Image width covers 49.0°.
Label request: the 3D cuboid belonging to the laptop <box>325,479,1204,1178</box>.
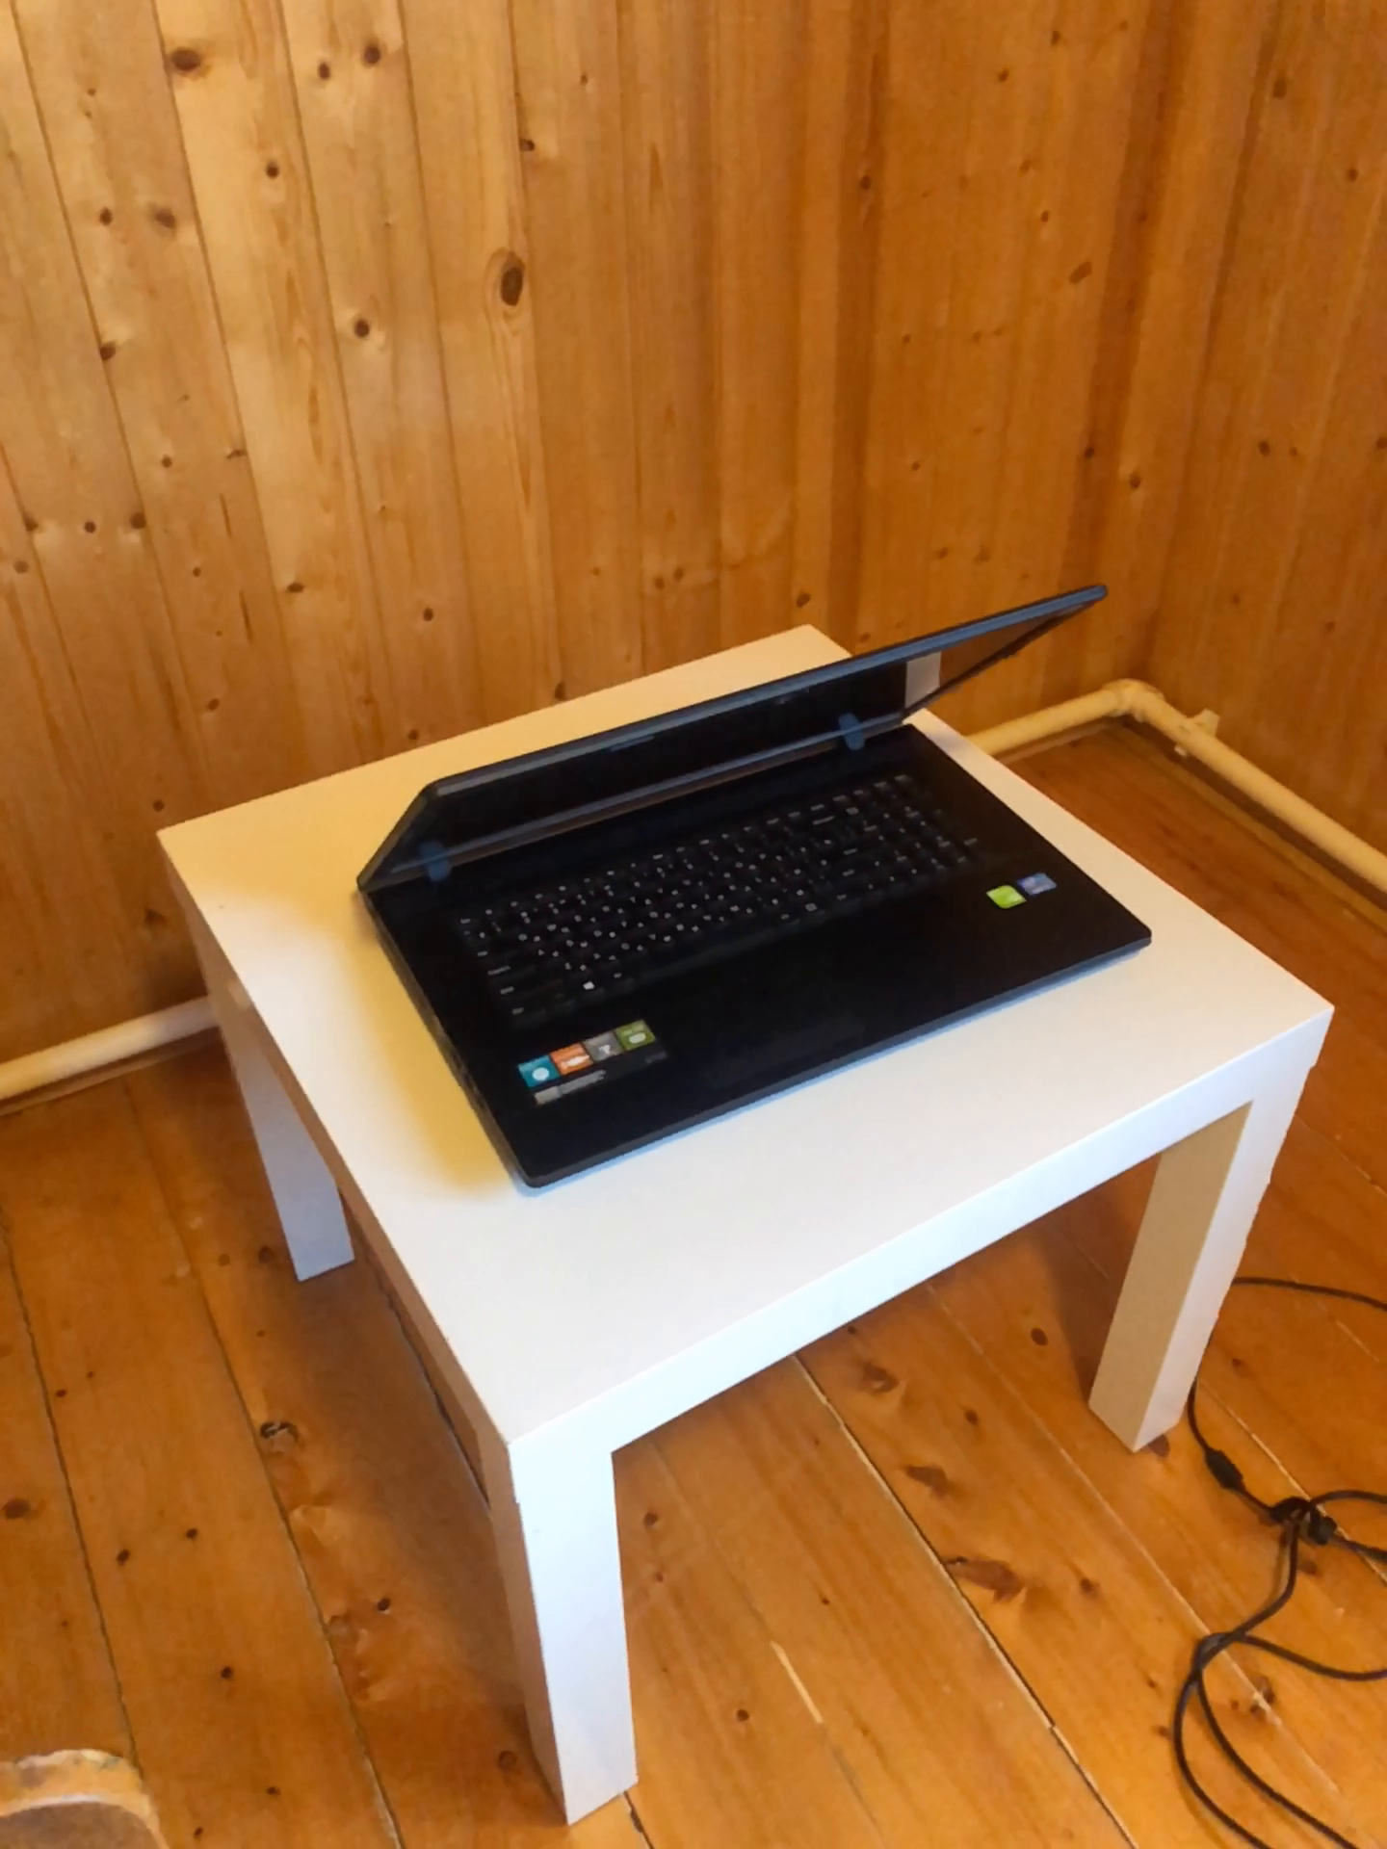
[{"bbox_3d":[0.037,-0.079,0.865,0.402,0.183,0.252,-19,44,-23],"label":"laptop"}]
